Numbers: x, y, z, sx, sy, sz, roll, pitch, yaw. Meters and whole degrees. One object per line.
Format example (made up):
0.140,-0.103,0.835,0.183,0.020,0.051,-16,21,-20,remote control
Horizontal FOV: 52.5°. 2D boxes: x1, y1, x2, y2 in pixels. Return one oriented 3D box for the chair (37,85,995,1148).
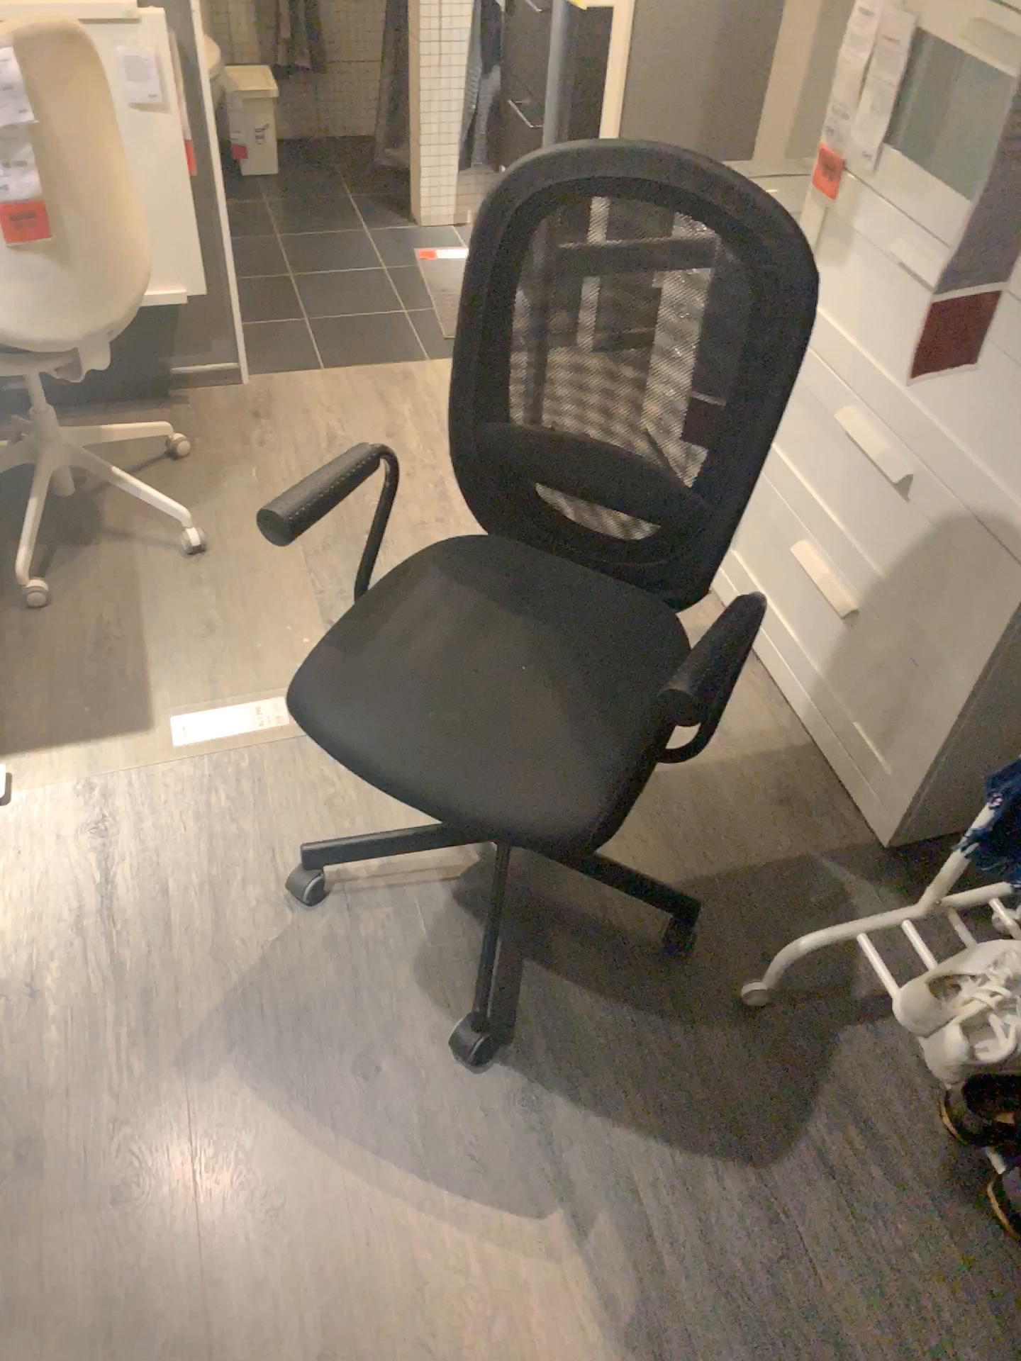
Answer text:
0.029,-0.066,1.311,0.641,0.976,0.682,24,48,19,chair
